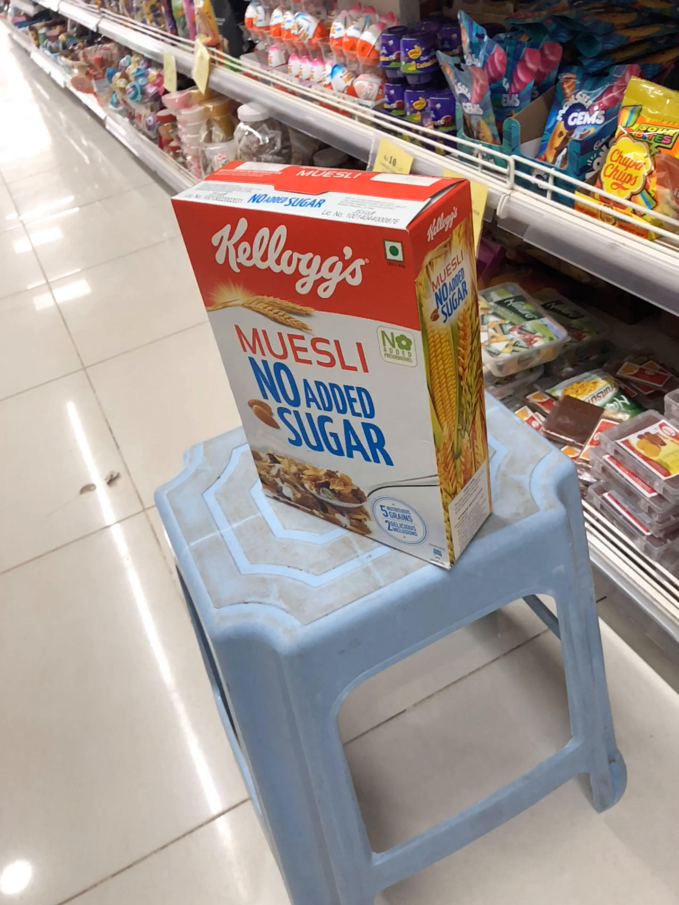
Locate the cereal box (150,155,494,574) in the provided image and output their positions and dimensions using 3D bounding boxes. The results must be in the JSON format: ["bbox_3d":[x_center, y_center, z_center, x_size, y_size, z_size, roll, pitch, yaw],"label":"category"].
[{"bbox_3d":[-0.001,-0.059,0.523,0.191,0.259,0.070,18,47,33],"label":"cereal box"}]
